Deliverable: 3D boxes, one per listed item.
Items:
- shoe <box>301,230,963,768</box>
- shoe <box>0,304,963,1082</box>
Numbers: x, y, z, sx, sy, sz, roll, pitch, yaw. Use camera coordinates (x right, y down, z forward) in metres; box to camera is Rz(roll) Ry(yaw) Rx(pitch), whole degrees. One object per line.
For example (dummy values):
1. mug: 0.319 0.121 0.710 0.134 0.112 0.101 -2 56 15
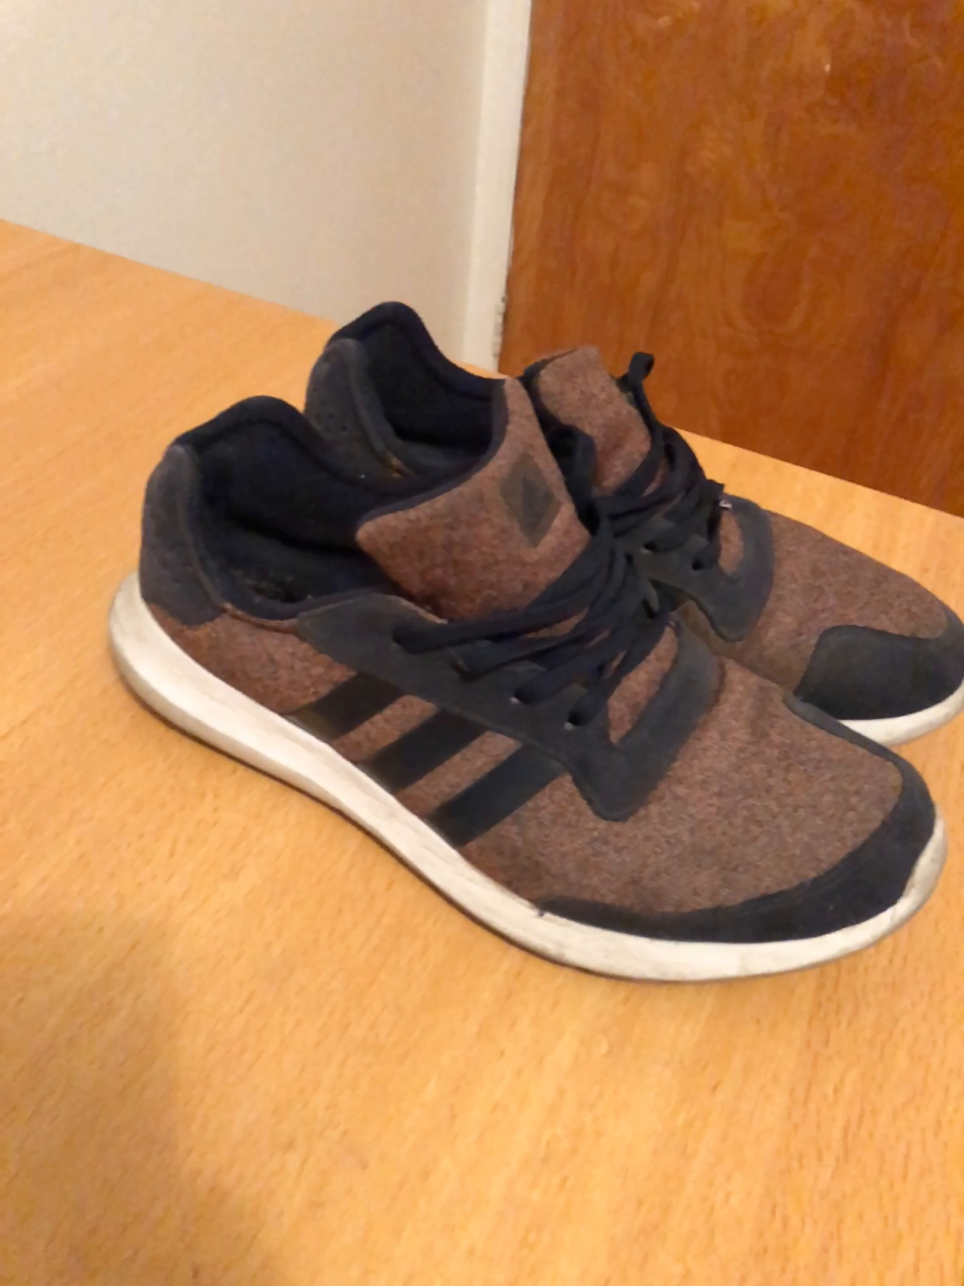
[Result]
1. shoe: 0.074 -0.066 0.408 0.260 0.099 0.111 18 41 14
2. shoe: 0.004 -0.004 0.341 0.310 0.099 0.131 18 41 14
